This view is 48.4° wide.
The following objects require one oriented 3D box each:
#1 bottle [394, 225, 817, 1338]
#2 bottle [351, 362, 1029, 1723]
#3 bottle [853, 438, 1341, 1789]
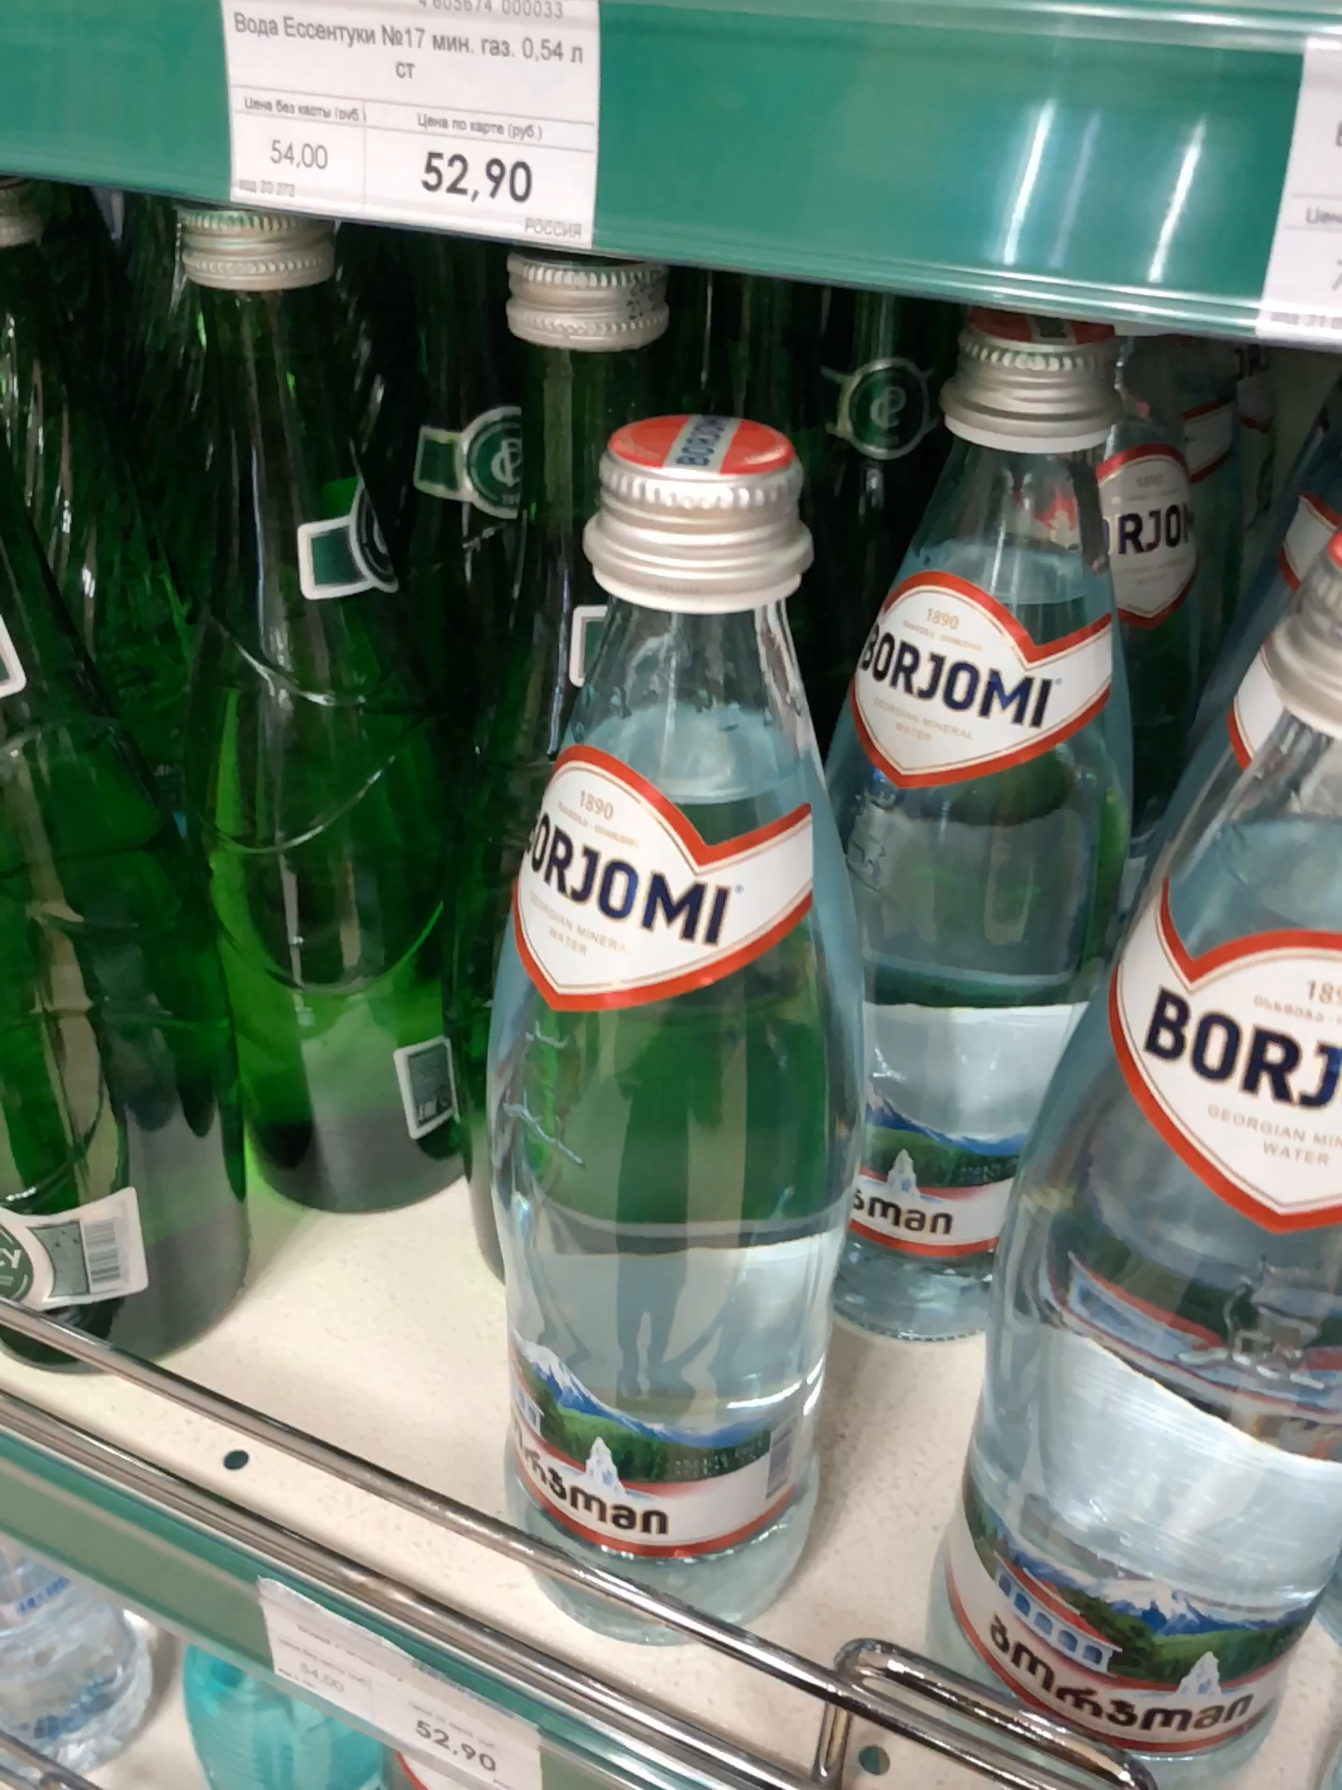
[{"bbox_3d":[-0.018,-0.013,0.330,0.065,0.237,0.069,1,34,-1],"label":"bottle"},{"bbox_3d":[0.000,0.039,0.265,0.068,0.236,0.063,1,34,-1],"label":"bottle"},{"bbox_3d":[0.086,0.060,0.236,0.069,0.236,0.065,1,34,-1],"label":"bottle"}]
